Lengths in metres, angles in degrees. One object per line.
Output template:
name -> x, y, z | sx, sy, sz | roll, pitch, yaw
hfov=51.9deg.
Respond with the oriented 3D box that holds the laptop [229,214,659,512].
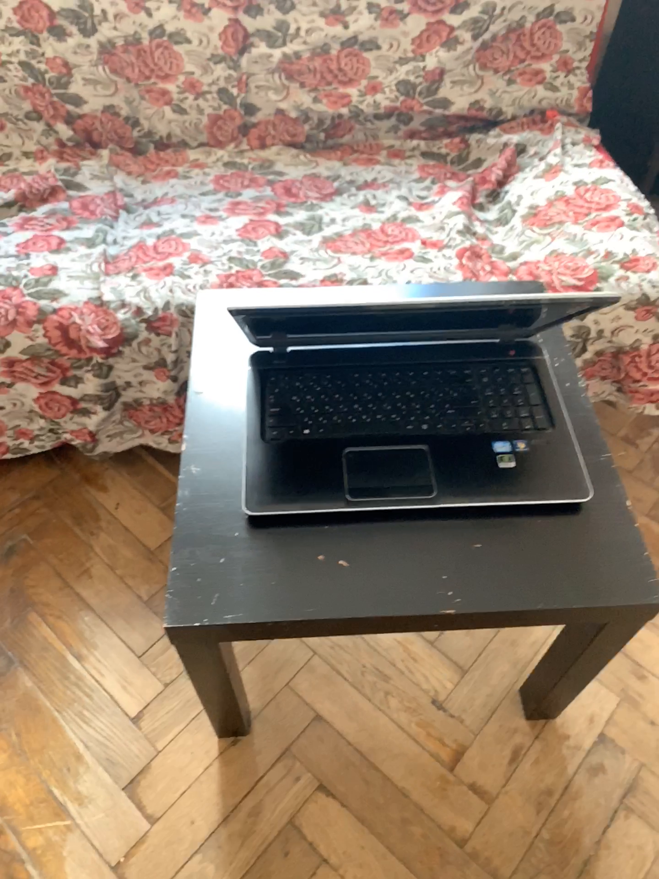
laptop -> 0.101, -0.091, 0.785 | 0.404, 0.201, 0.258 | -2, 52, -3
